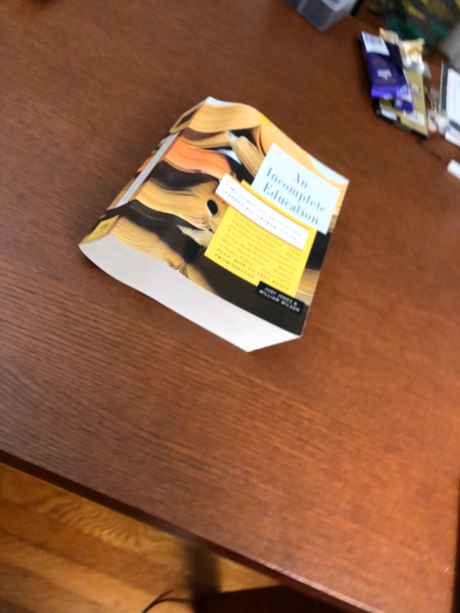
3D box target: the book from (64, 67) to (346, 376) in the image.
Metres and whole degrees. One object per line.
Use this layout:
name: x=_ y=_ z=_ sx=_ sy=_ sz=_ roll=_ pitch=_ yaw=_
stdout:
book: x=-0.004 y=-0.094 z=0.518 sx=0.210 sy=0.060 sz=0.251 roll=33 pitch=53 yaw=-14
